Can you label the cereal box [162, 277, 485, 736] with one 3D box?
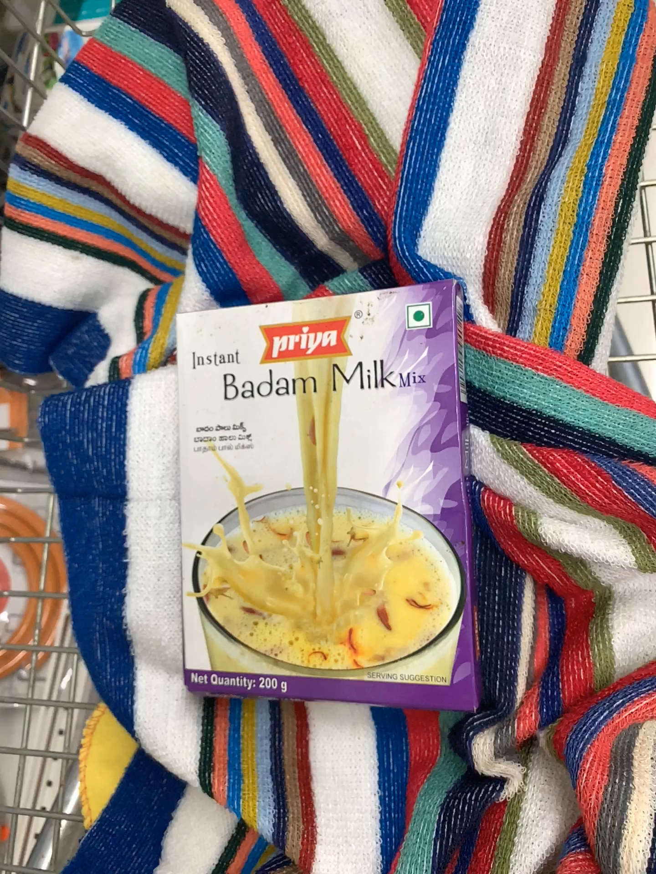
[{"bbox_3d":[-0.004,0.026,0.269,0.120,0.030,0.160,-3,86,15],"label":"cereal box"}]
